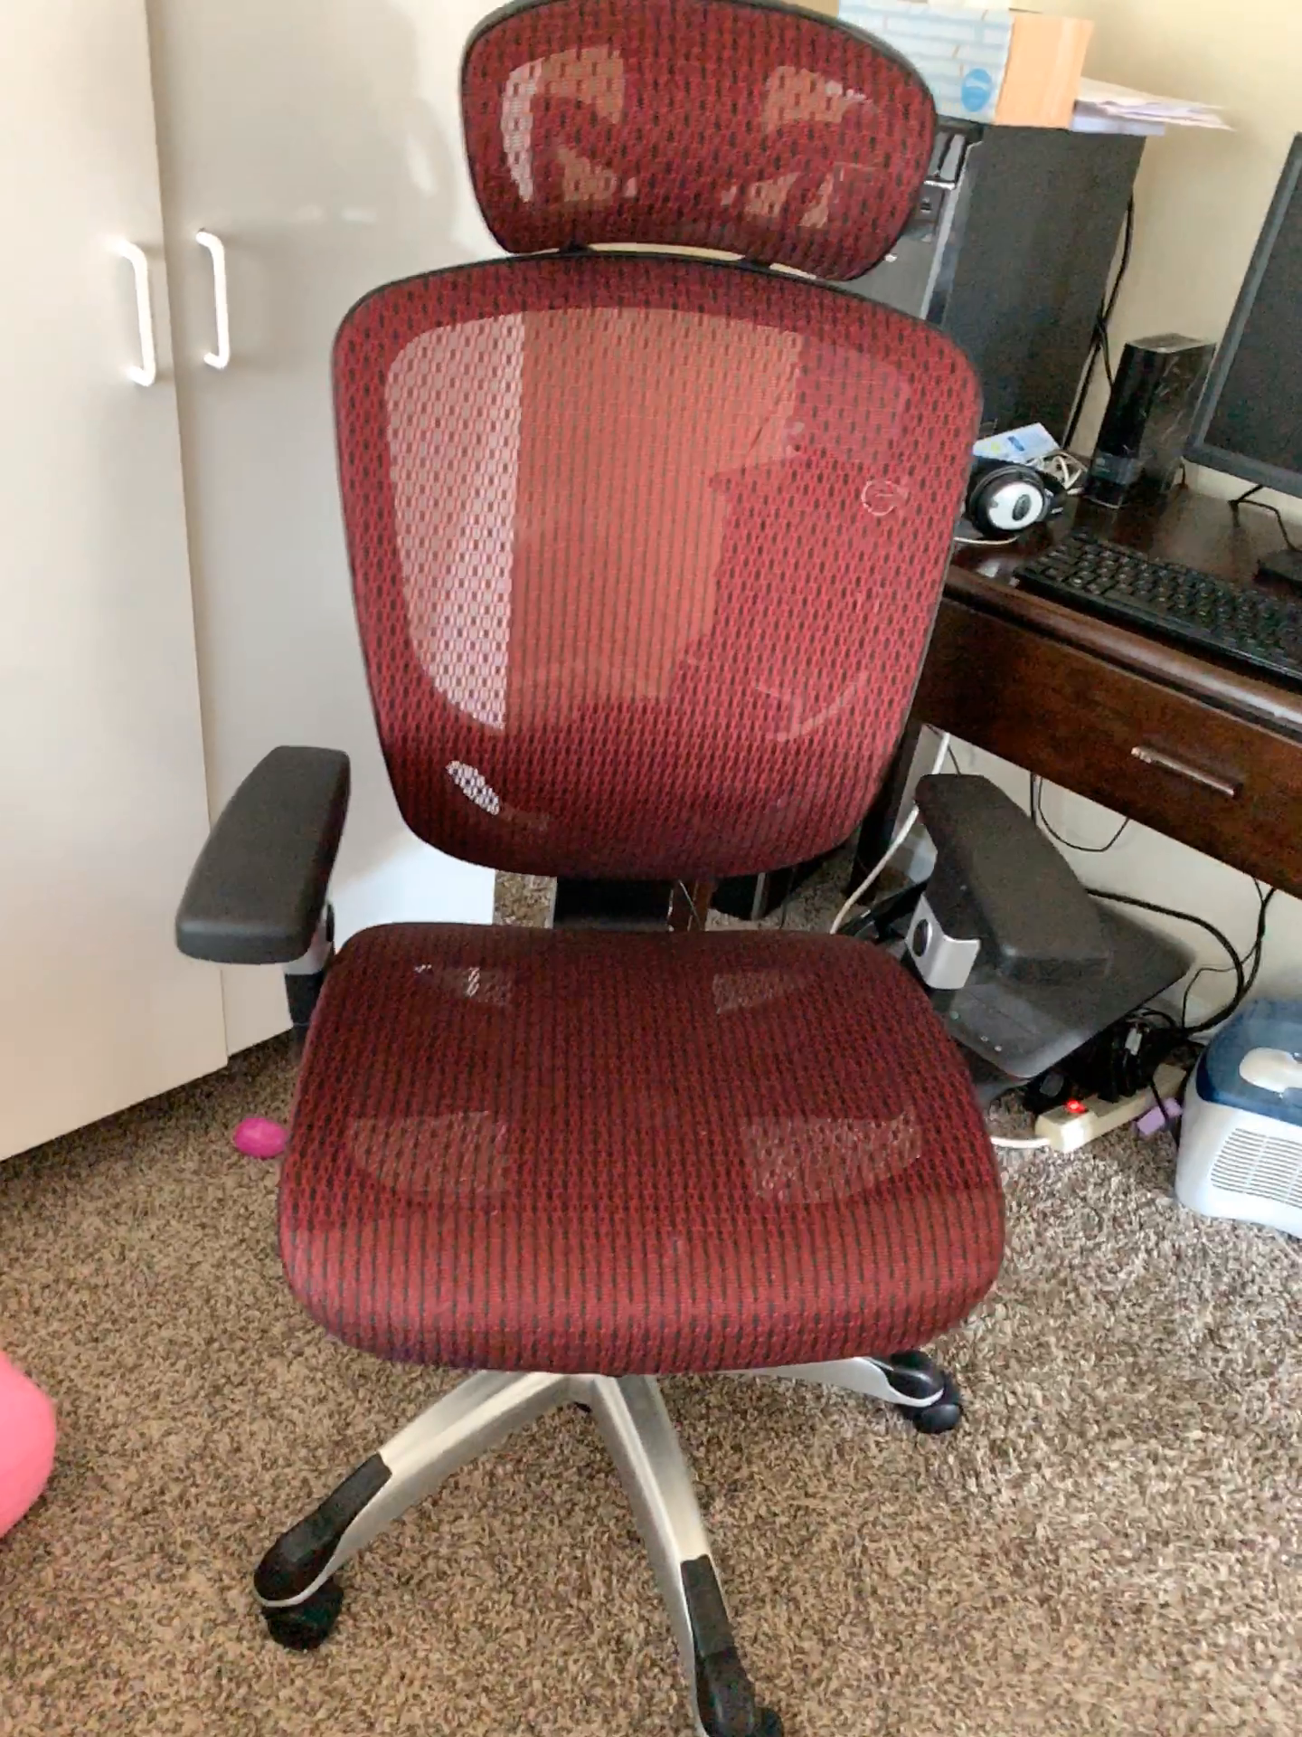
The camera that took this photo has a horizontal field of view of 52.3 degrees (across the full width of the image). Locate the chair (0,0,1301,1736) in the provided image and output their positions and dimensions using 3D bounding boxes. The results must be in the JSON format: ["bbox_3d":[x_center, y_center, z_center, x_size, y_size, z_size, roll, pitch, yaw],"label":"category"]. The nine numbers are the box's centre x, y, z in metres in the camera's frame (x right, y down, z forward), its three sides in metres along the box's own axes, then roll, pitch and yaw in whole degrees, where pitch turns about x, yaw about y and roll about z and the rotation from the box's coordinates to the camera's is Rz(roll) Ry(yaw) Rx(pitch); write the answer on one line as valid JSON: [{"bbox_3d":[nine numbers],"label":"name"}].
[{"bbox_3d":[0.019,0.018,1.021,0.730,1.154,0.814,4,33,-5],"label":"chair"}]
